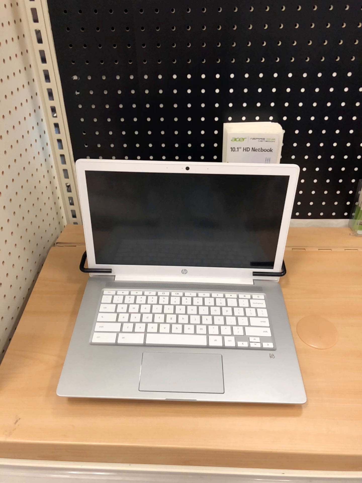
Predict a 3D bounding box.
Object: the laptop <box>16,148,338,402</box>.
[{"bbox_3d":[0.001,0.032,0.571,0.333,0.198,0.281,0,38,0],"label":"laptop"}]
